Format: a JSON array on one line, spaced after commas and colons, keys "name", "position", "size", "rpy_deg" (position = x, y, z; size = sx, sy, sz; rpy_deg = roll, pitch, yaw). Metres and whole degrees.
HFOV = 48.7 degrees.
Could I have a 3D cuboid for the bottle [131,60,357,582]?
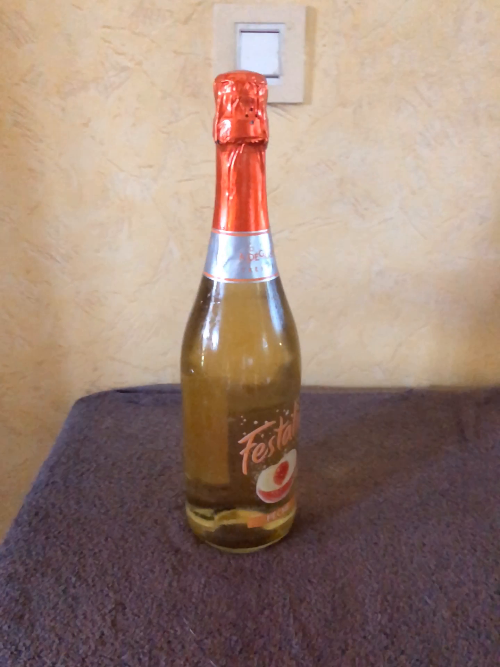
[{"name": "bottle", "position": [-0.003, -0.004, 0.366], "size": [0.090, 0.308, 0.090], "rpy_deg": [0, 21, 0]}]
